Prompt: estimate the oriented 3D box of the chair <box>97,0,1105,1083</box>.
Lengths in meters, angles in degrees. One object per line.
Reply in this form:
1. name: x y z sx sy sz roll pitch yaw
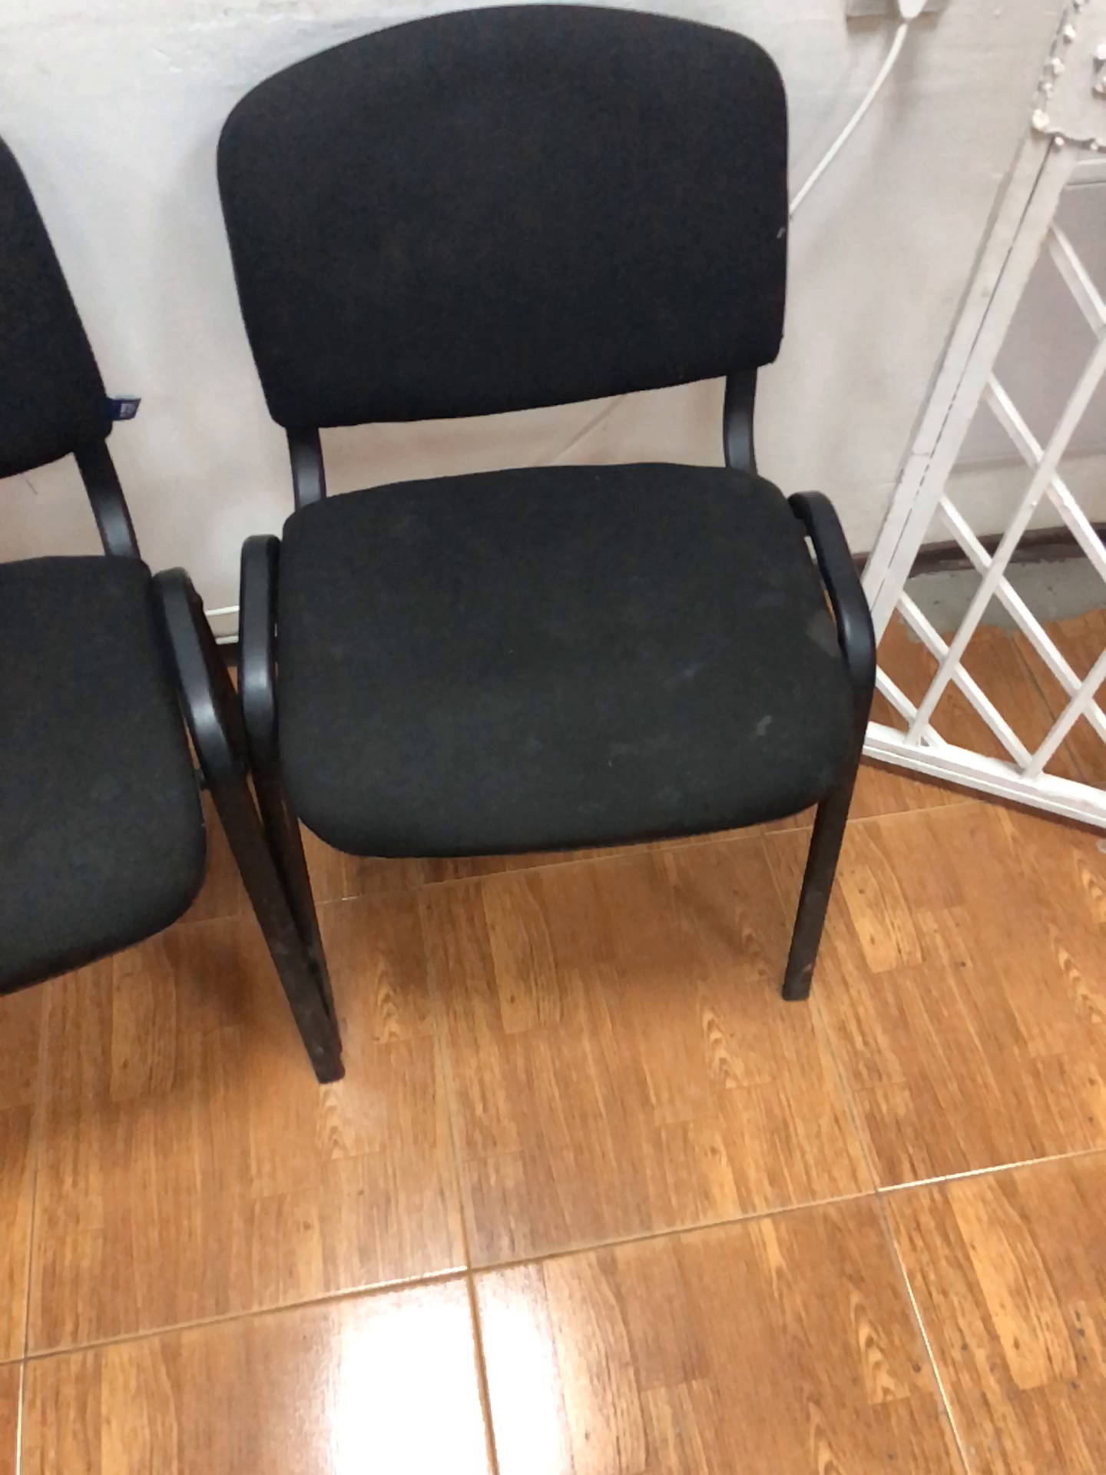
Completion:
1. chair: 0.004 -0.143 1.085 0.570 0.688 0.622 -6 56 -6
